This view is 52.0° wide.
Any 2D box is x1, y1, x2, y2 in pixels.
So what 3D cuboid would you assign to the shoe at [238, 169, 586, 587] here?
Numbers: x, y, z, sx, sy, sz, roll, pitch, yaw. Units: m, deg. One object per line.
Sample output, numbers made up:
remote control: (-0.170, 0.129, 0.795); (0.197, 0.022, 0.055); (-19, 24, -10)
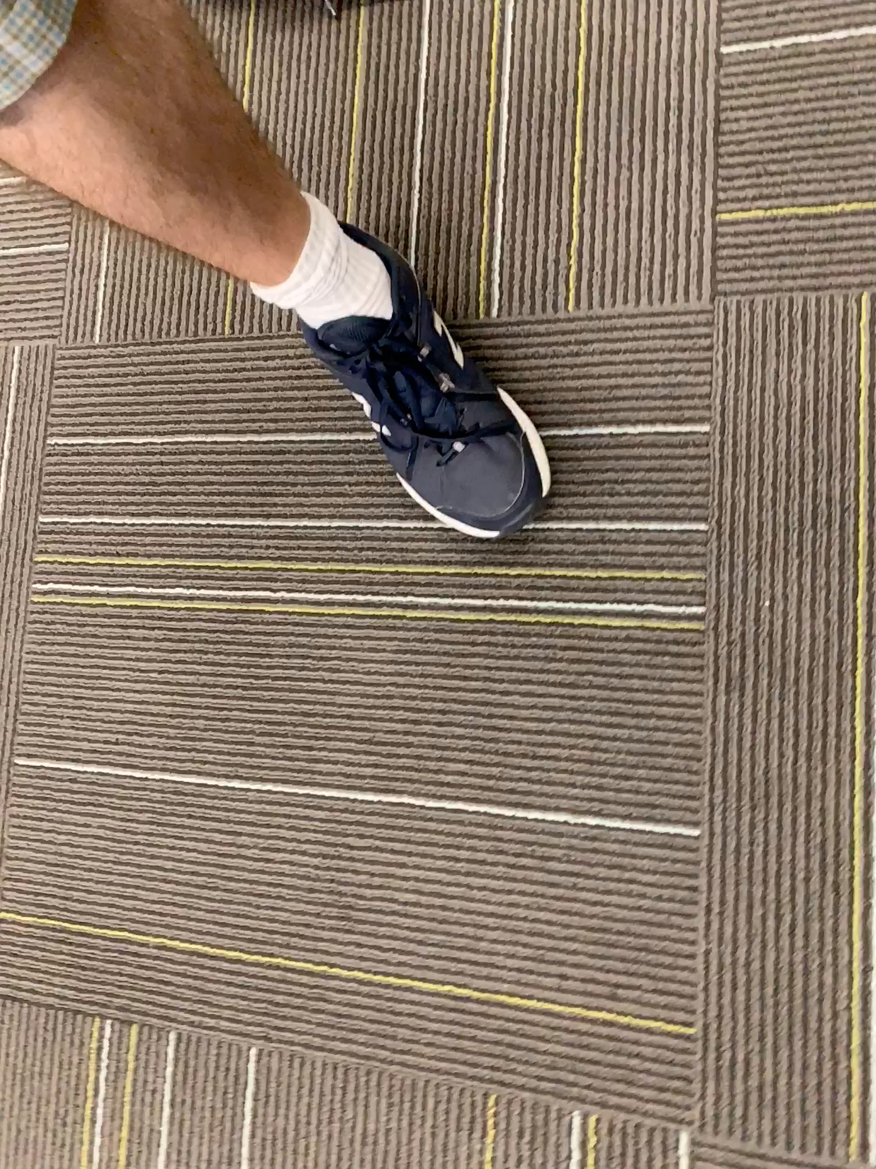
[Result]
shoe: (-0.025, -0.166, 0.728); (0.130, 0.070, 0.310); (-34, 75, 11)
